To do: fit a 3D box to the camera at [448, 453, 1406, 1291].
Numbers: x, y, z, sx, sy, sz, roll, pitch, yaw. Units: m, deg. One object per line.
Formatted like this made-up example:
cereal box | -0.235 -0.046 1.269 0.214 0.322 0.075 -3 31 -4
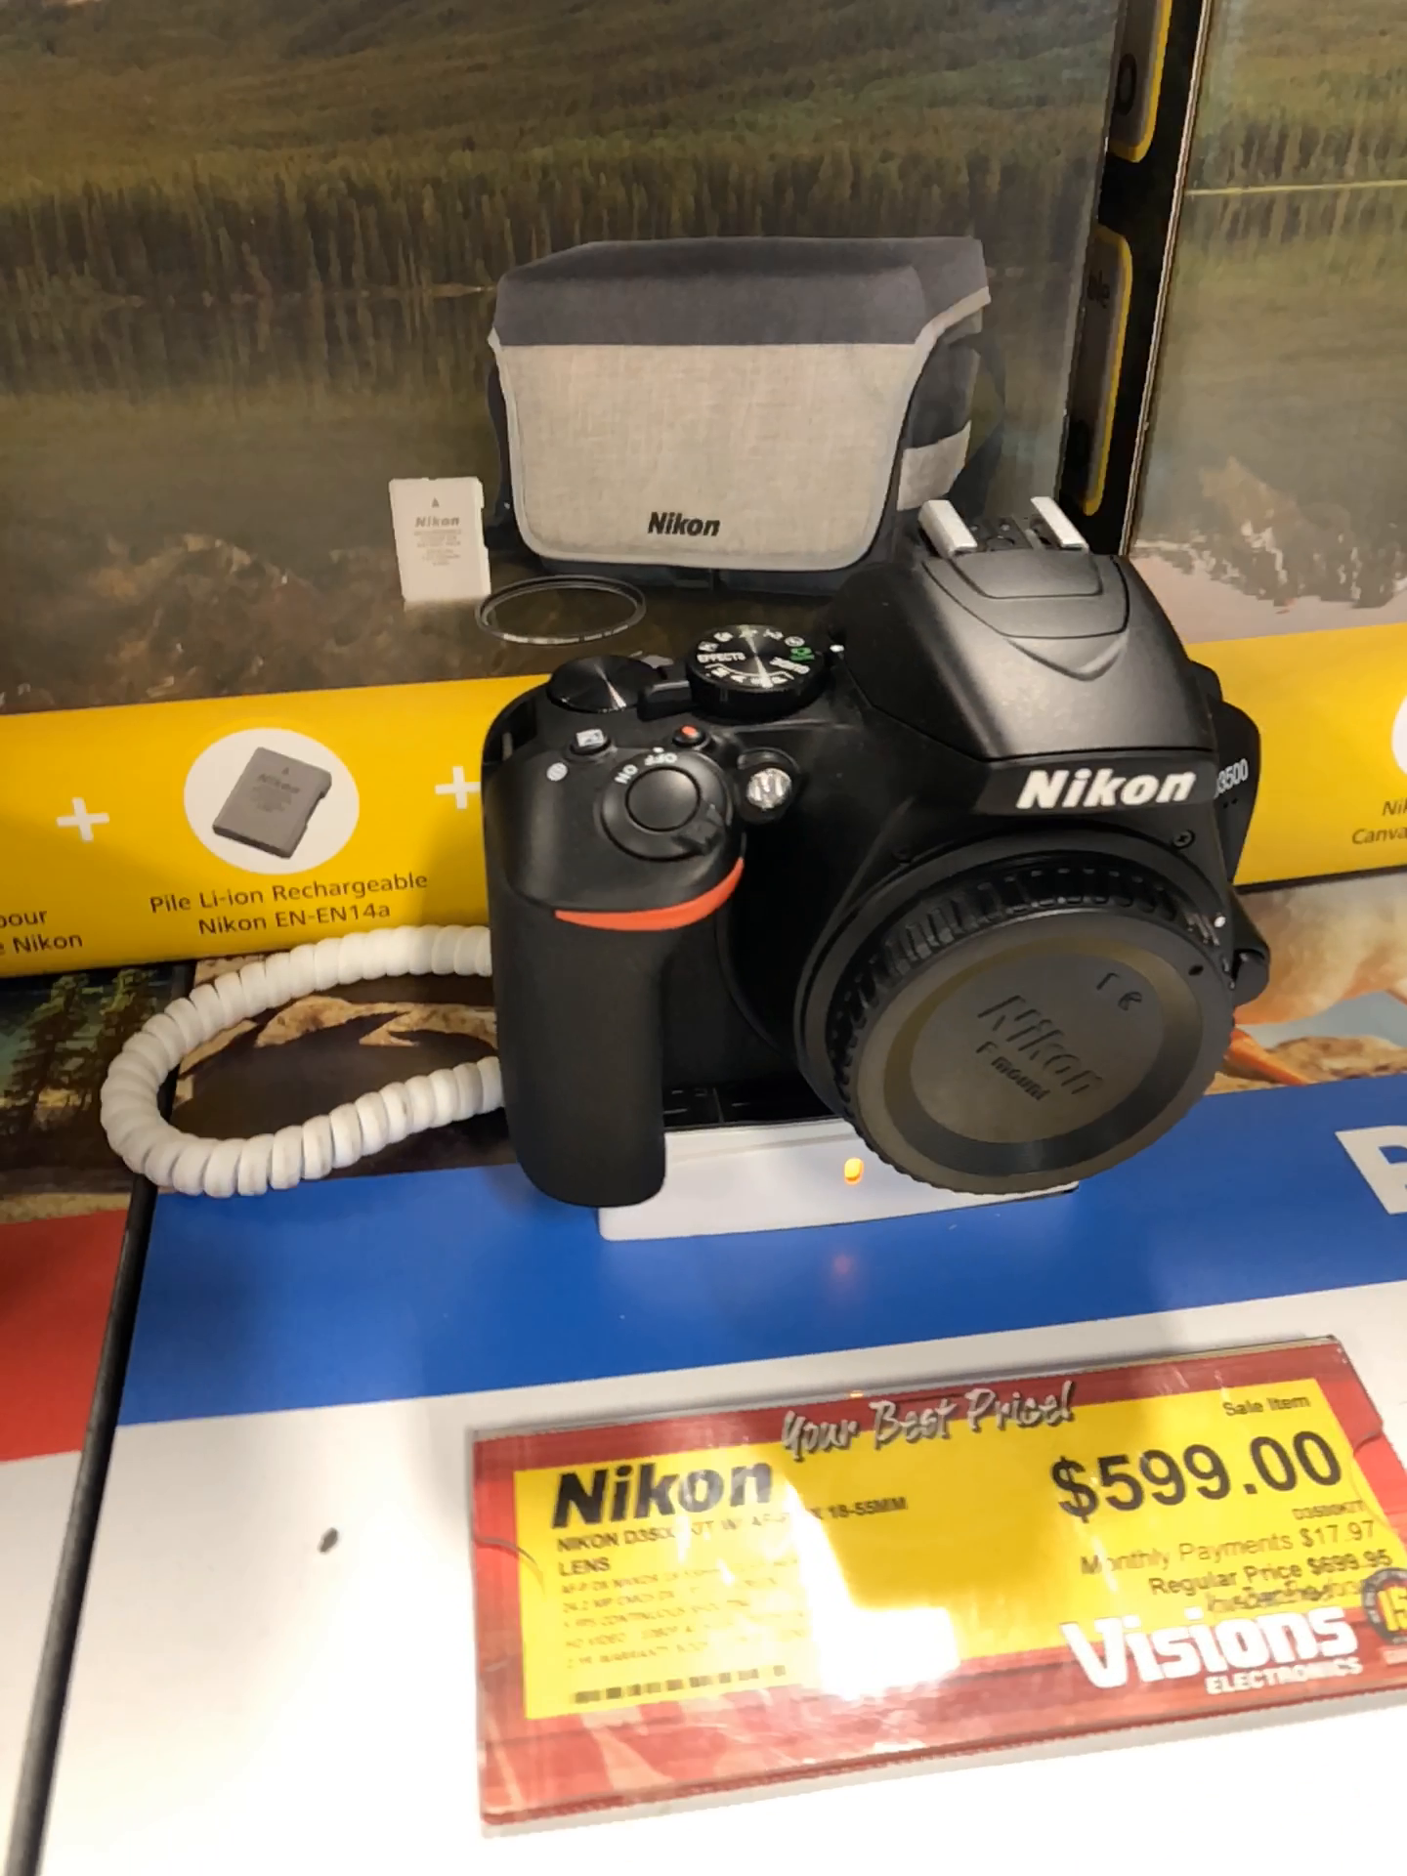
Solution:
camera | 0.025 -0.013 0.252 0.120 0.099 0.081 -4 37 -5
